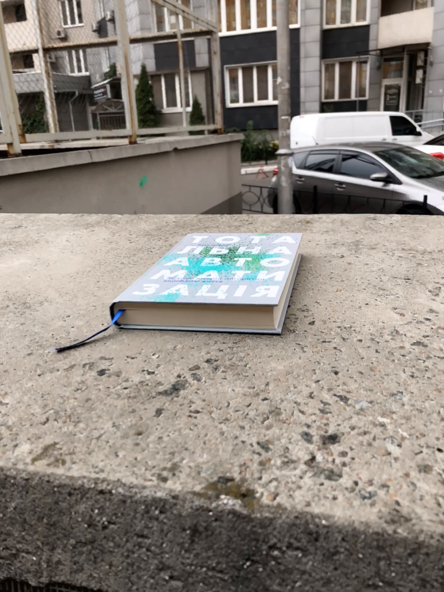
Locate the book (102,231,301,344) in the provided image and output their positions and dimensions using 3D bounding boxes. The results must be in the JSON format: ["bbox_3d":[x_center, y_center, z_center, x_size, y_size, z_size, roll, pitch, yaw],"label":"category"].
[{"bbox_3d":[-0.003,-0.022,0.498,0.150,0.030,0.221,2,24,13],"label":"book"}]
